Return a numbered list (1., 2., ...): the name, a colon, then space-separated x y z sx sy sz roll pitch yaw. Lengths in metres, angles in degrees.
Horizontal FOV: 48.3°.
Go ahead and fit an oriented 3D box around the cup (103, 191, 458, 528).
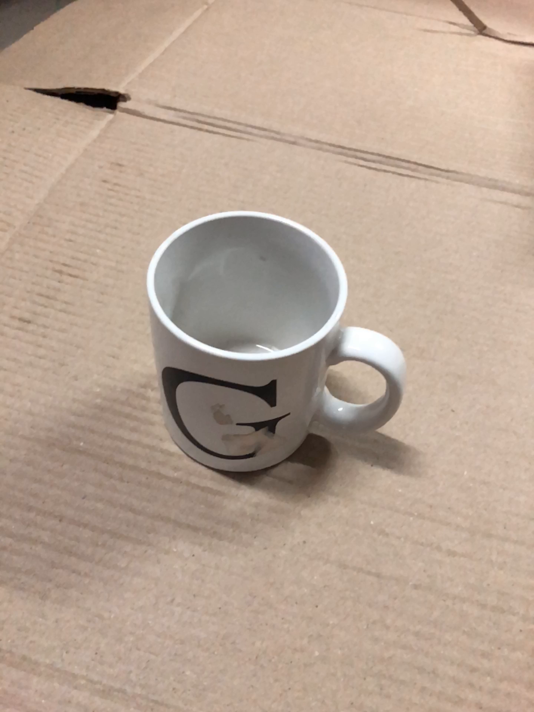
1. cup: 0.008 0.001 0.240 0.110 0.080 0.080 14 49 7
